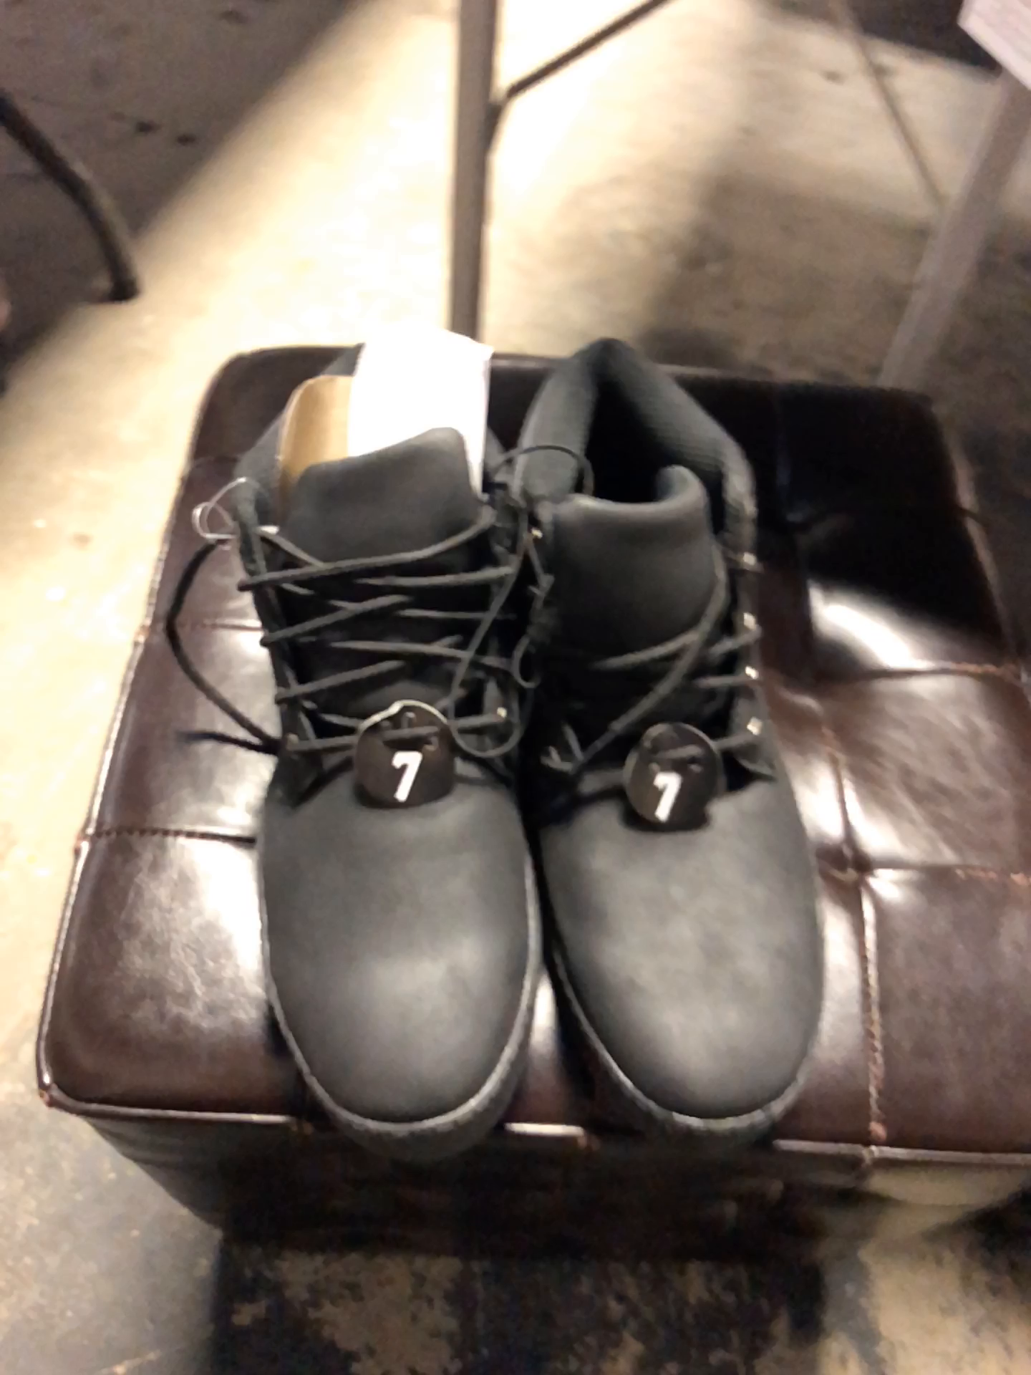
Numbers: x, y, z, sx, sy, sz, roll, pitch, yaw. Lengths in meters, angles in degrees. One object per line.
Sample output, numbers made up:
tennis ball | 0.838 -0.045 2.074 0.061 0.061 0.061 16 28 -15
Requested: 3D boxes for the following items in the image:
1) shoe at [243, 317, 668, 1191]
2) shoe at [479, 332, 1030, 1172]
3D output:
shoe | -0.034 0.015 0.398 0.100 0.139 0.262 -4 57 -8
shoe | 0.053 0.017 0.367 0.100 0.139 0.221 -4 57 -8
